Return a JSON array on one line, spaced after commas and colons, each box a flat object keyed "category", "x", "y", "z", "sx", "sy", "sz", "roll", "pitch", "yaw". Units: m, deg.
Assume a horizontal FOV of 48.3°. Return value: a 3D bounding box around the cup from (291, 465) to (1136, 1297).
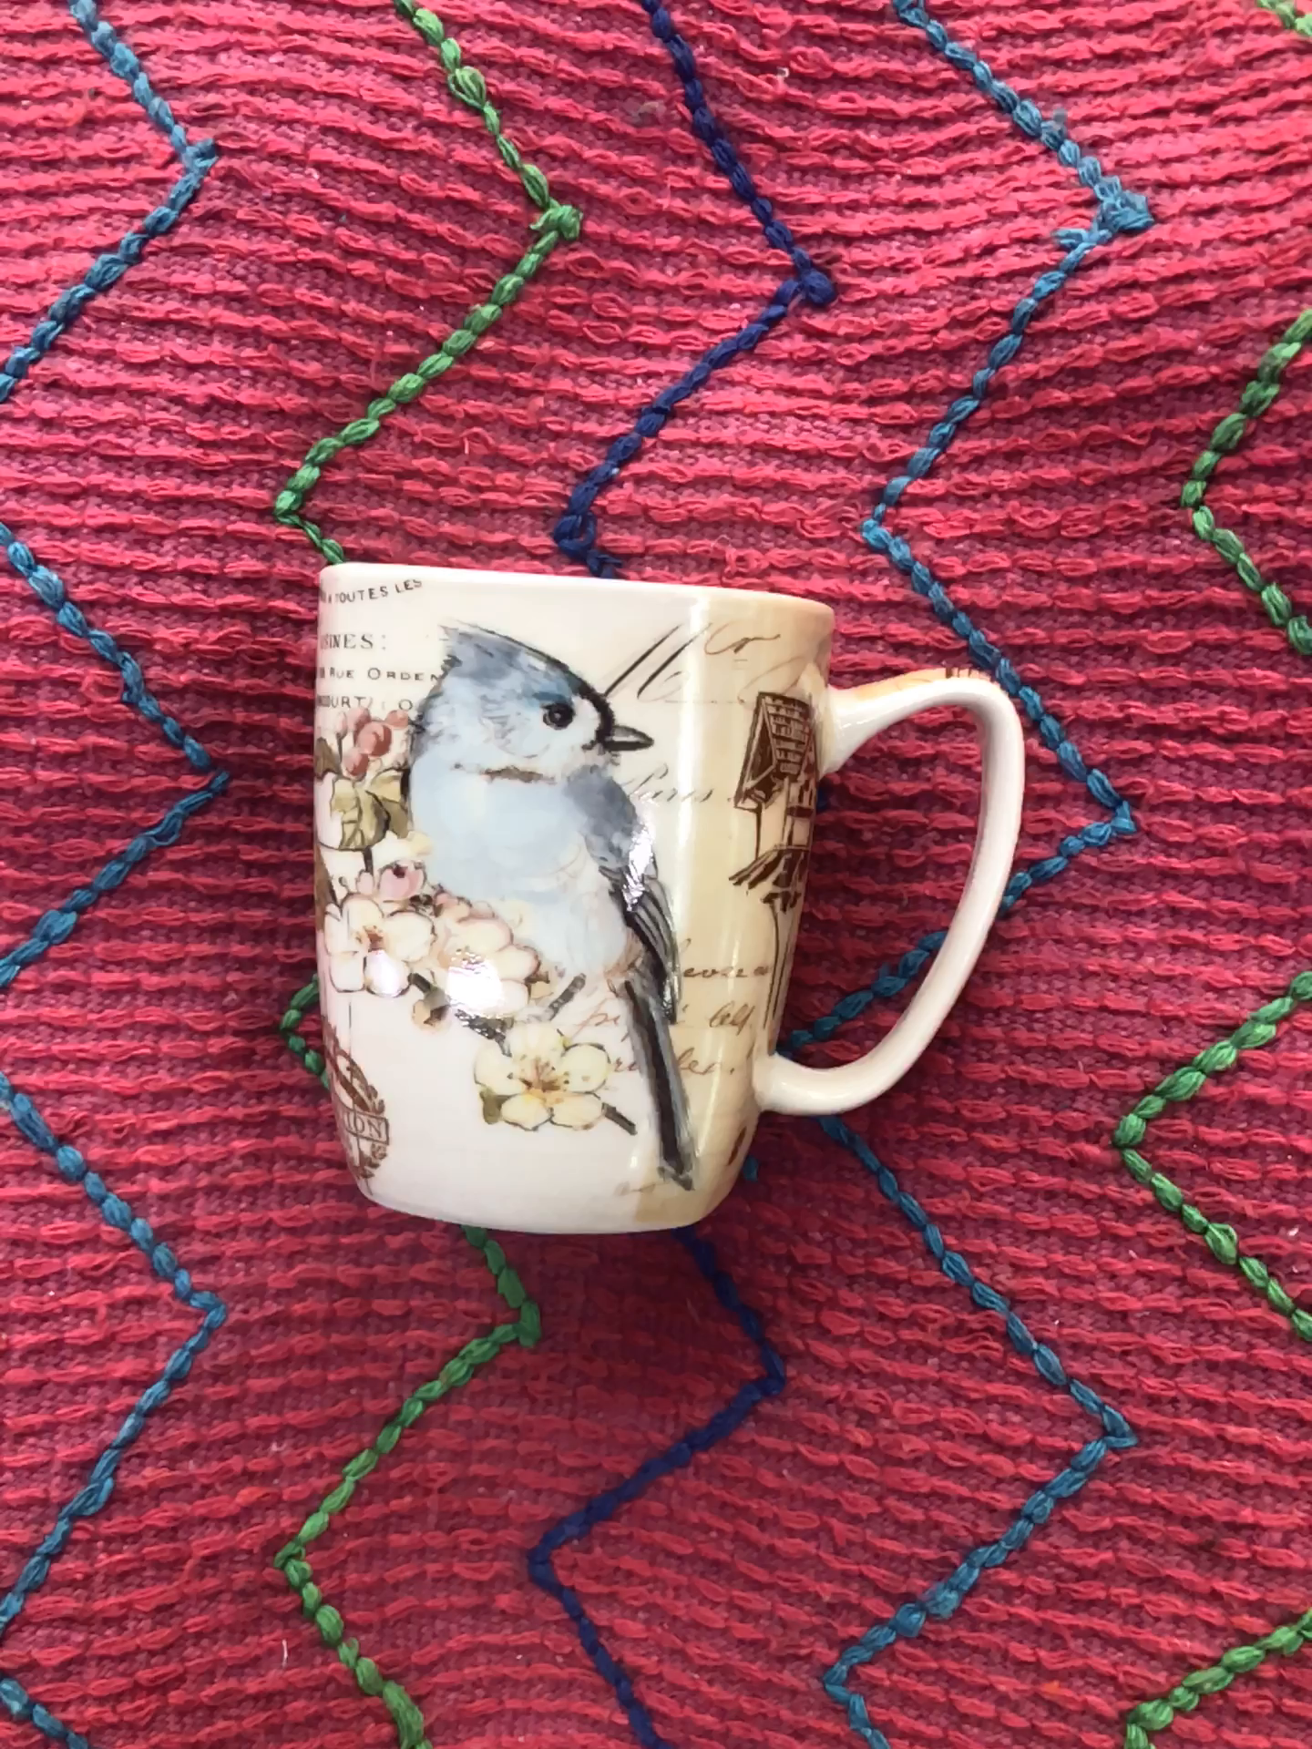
[{"category": "cup", "x": 0.005, "y": 0.000, "z": 0.231, "sx": 0.110, "sy": 0.070, "sz": 0.110, "roll": 0, "pitch": 97, "yaw": -4}]
